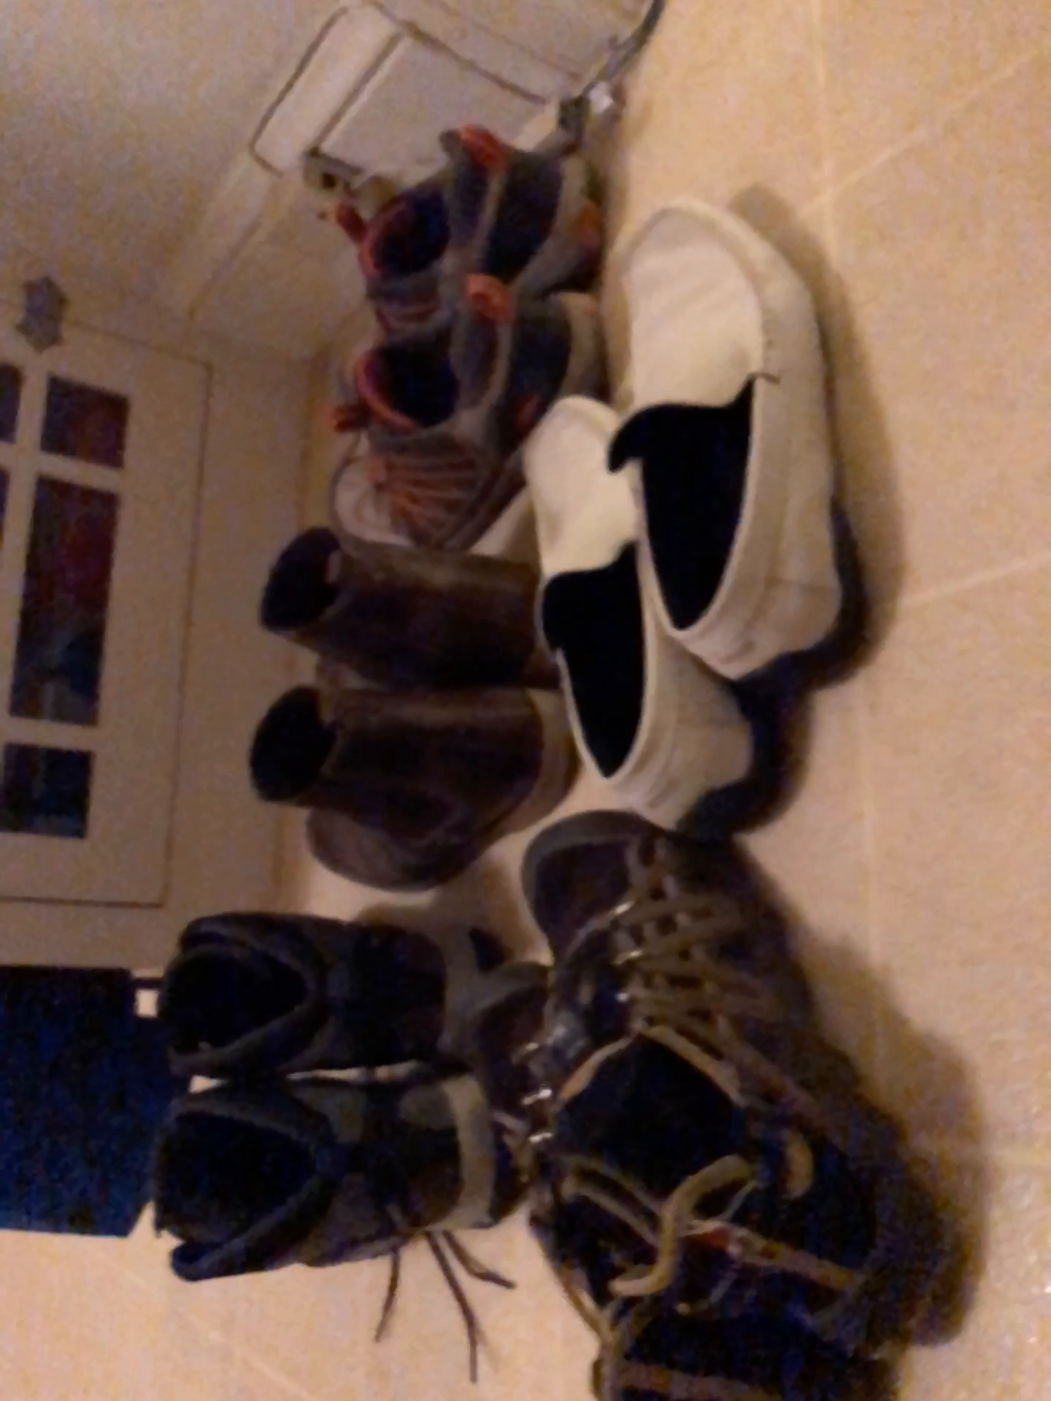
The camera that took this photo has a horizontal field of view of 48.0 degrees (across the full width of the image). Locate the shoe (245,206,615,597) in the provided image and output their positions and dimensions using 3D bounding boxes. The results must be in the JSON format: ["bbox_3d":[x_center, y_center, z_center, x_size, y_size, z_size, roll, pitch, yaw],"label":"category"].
[{"bbox_3d":[-0.081,-0.186,0.824,0.314,0.113,0.110,-25,60,52],"label":"shoe"}]

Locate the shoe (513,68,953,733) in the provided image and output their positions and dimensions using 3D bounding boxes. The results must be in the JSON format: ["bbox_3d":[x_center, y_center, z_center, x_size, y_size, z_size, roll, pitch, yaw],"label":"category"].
[{"bbox_3d":[0.089,-0.151,0.591,0.110,0.113,0.304,-40,49,45],"label":"shoe"}]

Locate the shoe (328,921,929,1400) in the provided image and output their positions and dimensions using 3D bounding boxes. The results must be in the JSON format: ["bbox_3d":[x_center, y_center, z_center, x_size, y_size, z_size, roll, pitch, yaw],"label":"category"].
[{"bbox_3d":[0.024,0.235,0.564,0.294,0.123,0.110,40,115,54],"label":"shoe"}]

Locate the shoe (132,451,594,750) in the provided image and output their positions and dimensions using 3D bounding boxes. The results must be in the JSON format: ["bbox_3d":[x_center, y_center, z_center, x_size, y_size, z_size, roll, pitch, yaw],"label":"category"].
[{"bbox_3d":[-0.129,-0.049,0.832,0.324,0.192,0.110,-14,69,56],"label":"shoe"}]

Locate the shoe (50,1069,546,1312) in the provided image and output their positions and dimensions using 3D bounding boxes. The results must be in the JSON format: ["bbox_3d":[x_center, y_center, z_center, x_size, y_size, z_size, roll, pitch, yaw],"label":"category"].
[{"bbox_3d":[-0.161,0.311,0.760,0.324,0.192,0.110,-31,55,50],"label":"shoe"}]

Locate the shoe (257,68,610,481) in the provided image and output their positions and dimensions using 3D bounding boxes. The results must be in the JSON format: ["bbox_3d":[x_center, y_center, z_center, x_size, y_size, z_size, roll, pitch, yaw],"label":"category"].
[{"bbox_3d":[-0.081,-0.288,0.864,0.314,0.113,0.110,-25,60,52],"label":"shoe"}]

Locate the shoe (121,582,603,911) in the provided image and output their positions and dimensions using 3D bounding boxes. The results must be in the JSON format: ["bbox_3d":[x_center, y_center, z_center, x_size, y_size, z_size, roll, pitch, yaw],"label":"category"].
[{"bbox_3d":[-0.126,0.053,0.801,0.324,0.192,0.110,-30,57,51],"label":"shoe"}]

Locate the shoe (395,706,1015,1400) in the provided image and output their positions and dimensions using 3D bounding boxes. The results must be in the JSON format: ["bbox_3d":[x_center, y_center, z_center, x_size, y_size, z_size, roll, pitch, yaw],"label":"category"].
[{"bbox_3d":[0.057,0.139,0.547,0.110,0.123,0.294,-63,35,24],"label":"shoe"}]

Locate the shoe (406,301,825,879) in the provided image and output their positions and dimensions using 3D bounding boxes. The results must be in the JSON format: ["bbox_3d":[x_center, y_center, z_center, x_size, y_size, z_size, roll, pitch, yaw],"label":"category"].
[{"bbox_3d":[0.033,-0.067,0.649,0.110,0.113,0.304,-49,43,38],"label":"shoe"}]

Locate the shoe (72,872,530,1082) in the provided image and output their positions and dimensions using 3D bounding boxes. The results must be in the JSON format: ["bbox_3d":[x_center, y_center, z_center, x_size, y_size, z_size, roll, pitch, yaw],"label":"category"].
[{"bbox_3d":[-0.167,0.200,0.816,0.324,0.192,0.110,-22,62,53],"label":"shoe"}]
